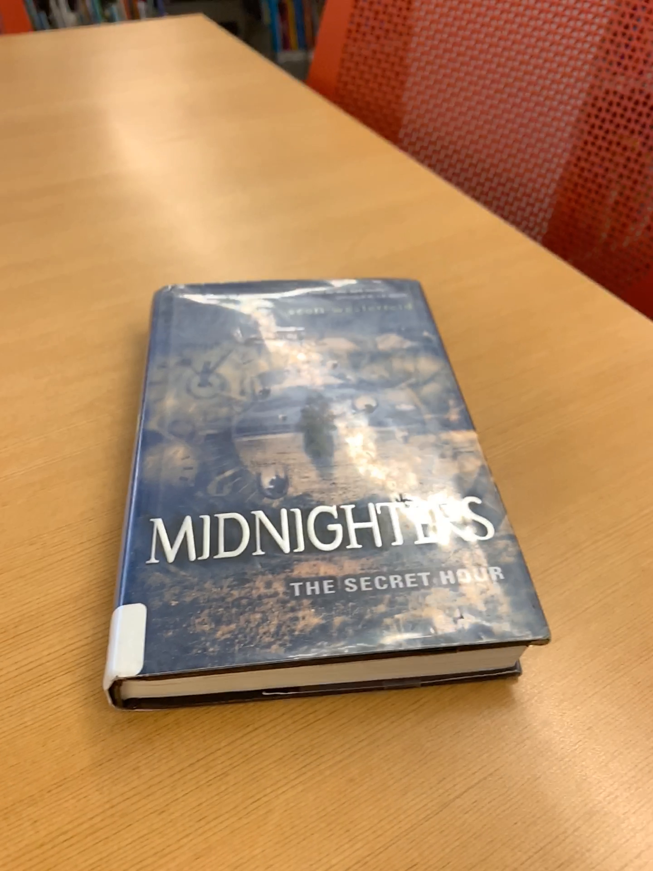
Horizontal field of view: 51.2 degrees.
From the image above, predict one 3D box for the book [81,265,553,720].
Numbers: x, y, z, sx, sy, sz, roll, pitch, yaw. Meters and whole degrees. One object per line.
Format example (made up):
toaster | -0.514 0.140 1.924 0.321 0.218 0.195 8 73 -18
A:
book | -0.012 0.002 0.305 0.151 0.036 0.221 -3 47 -6
